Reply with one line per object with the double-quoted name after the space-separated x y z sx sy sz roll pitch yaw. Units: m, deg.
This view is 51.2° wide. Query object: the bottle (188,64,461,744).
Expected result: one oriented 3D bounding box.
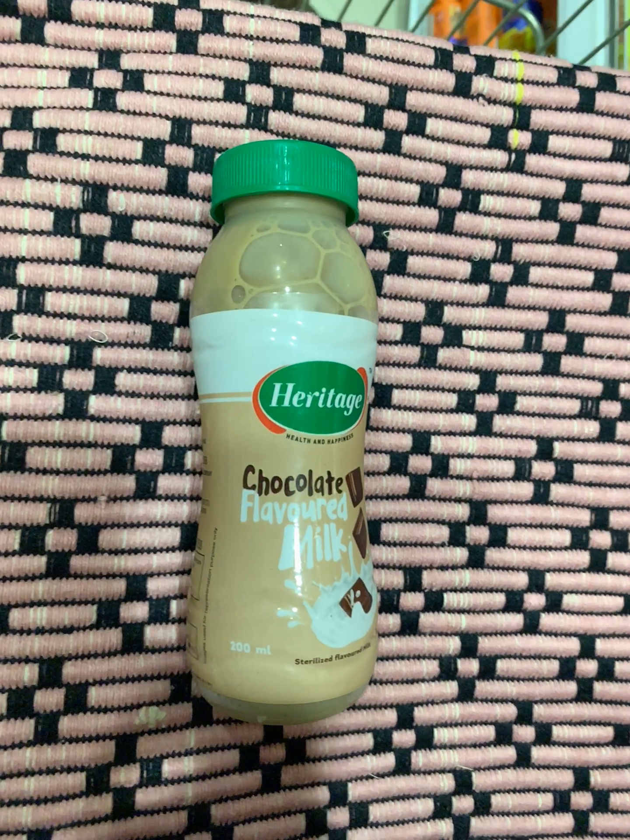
0.000 -0.003 0.168 0.050 0.050 0.140 2 84 -26 "bottle"
